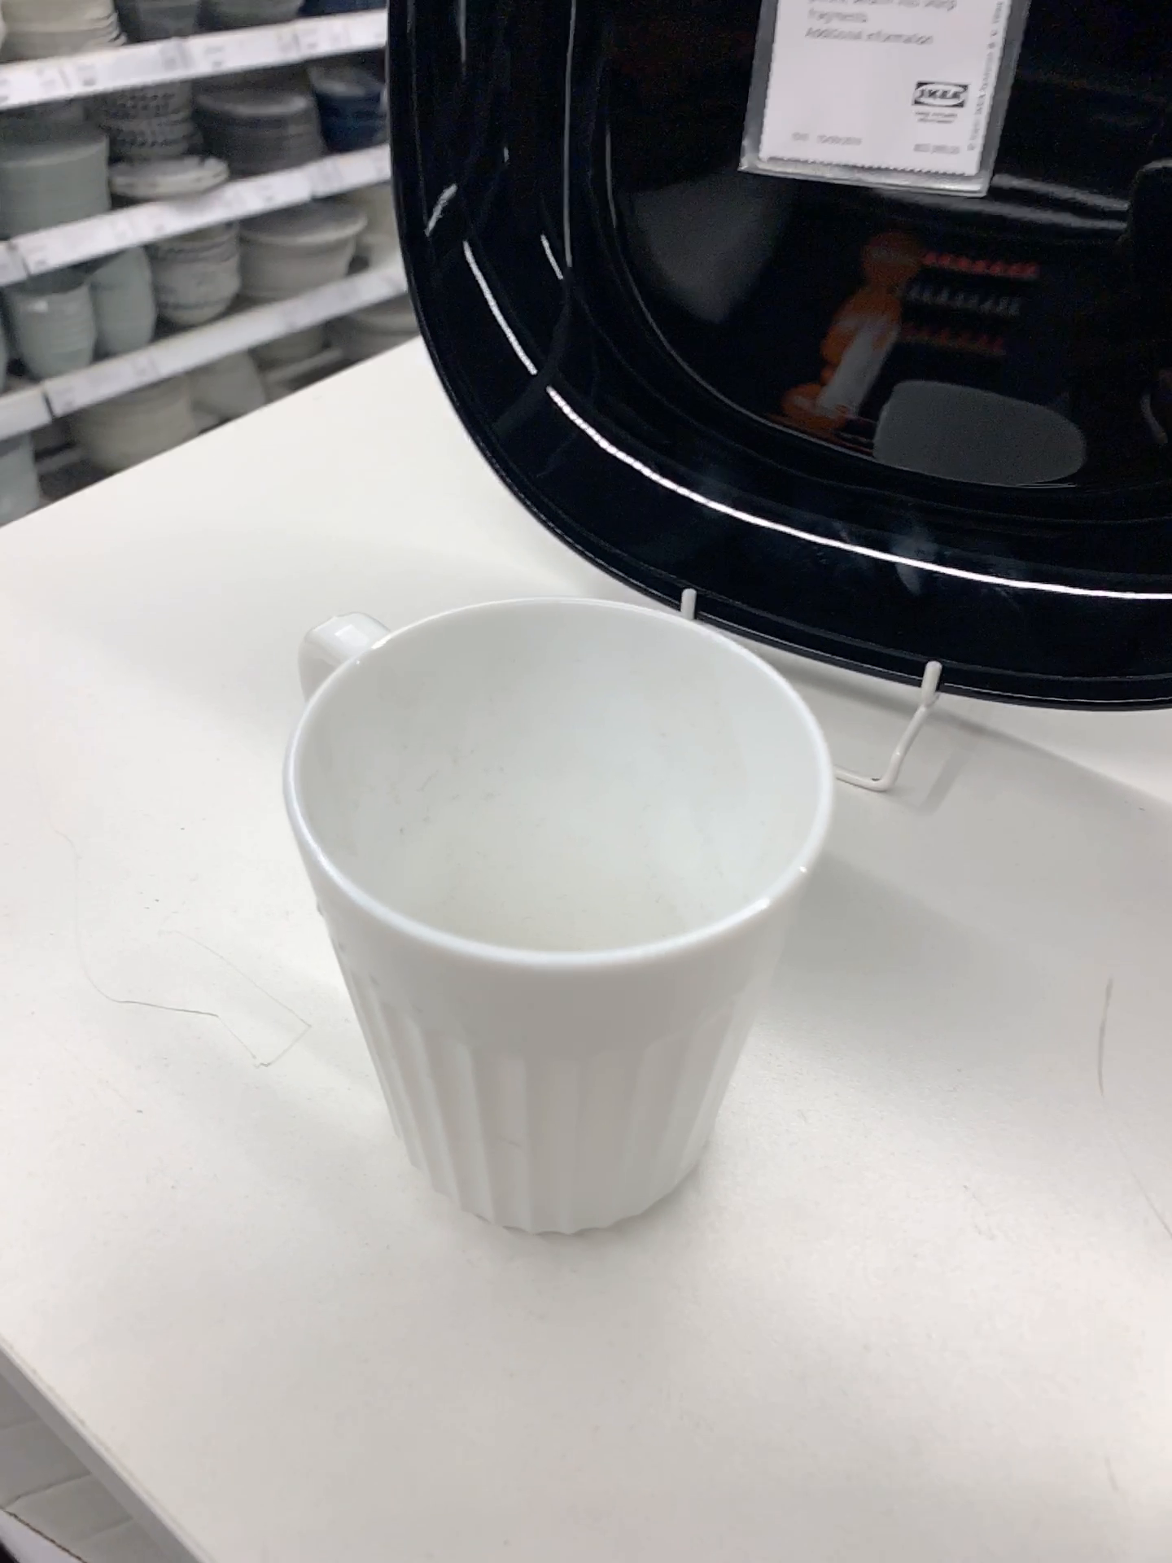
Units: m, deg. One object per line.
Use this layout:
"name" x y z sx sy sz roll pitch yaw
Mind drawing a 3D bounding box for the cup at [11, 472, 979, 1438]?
"cup" -0.016 0.019 0.203 0.110 0.080 0.090 34 49 29
